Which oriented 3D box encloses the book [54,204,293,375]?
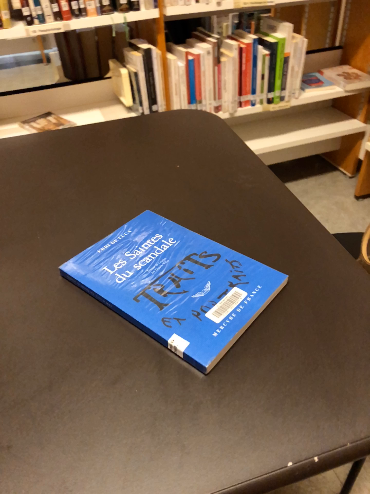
[{"bbox_3d":[-0.016,0.026,0.441,0.215,0.017,0.145,25,47,31],"label":"book"}]
